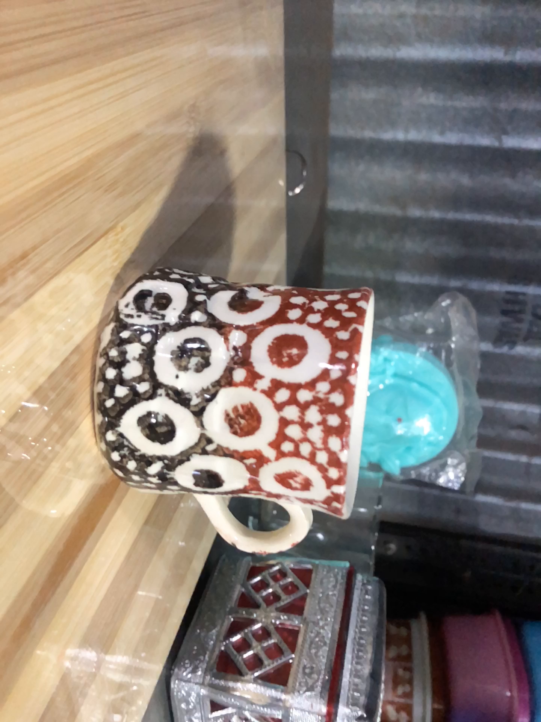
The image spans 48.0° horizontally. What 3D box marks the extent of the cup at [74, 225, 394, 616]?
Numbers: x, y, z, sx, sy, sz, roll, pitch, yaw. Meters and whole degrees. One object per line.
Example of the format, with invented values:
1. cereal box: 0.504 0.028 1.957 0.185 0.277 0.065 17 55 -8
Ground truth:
1. cup: -0.004 0.015 0.181 0.060 0.070 0.090 -67 160 -58
